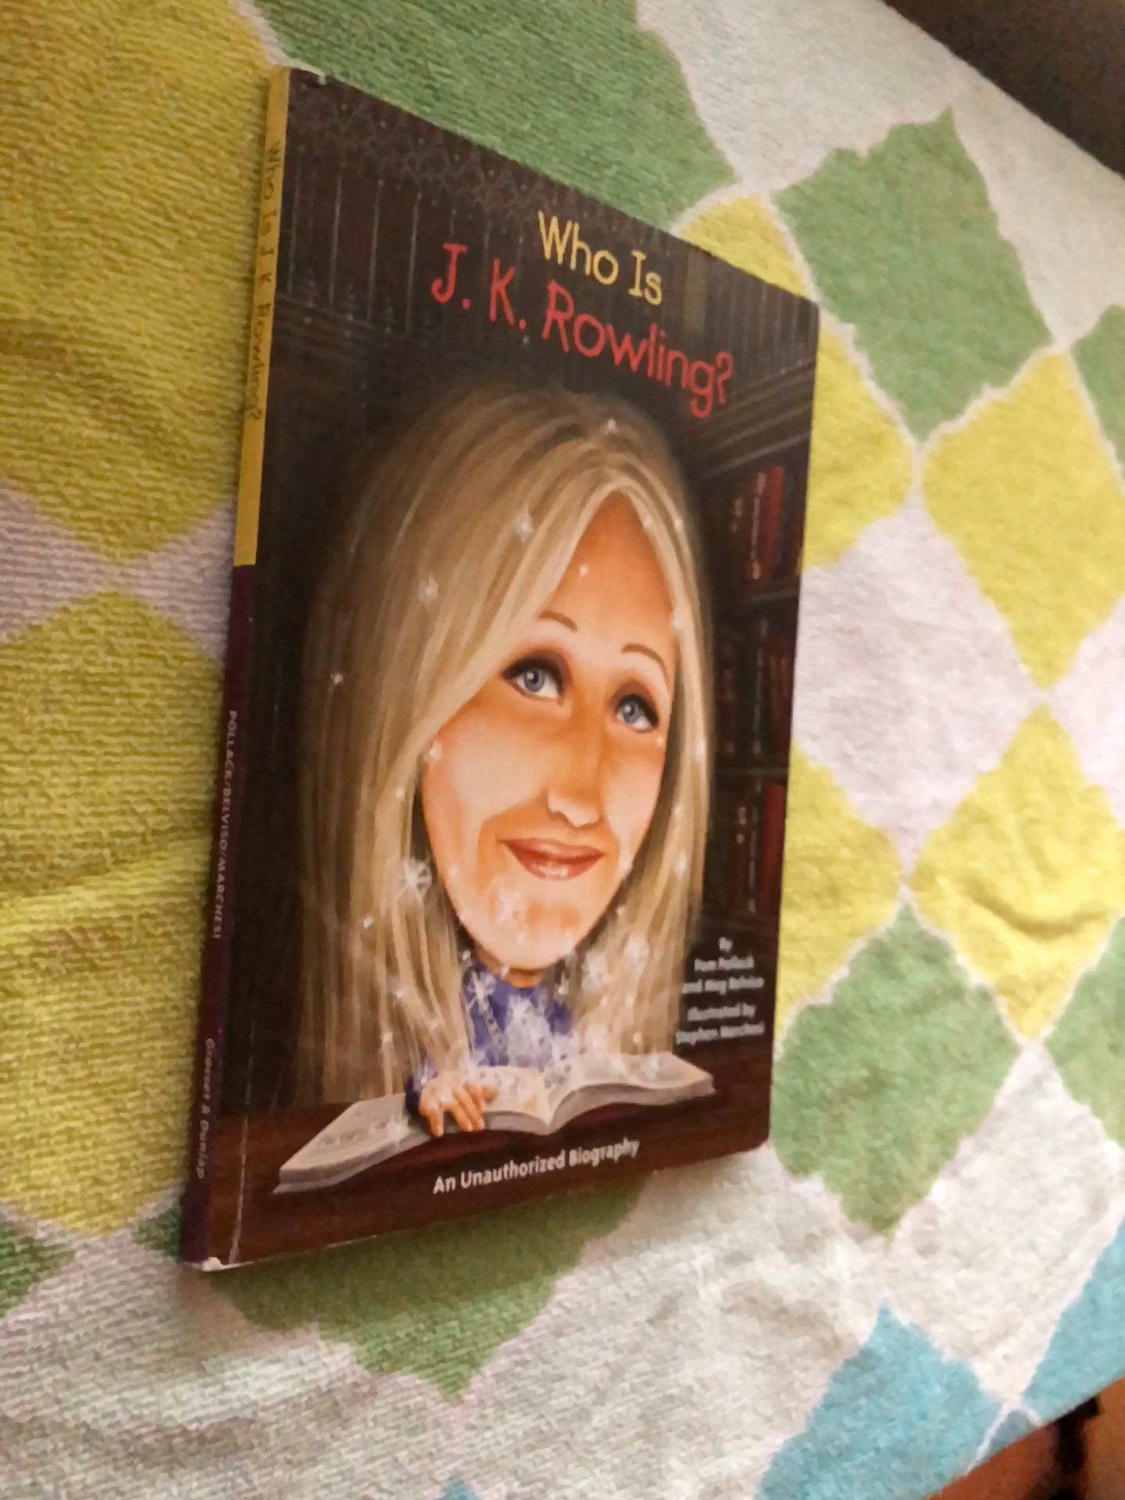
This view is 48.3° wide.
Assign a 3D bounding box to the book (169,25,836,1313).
[{"bbox_3d":[0.000,-0.009,0.226,0.126,0.012,0.187,6,87,-40],"label":"book"}]
